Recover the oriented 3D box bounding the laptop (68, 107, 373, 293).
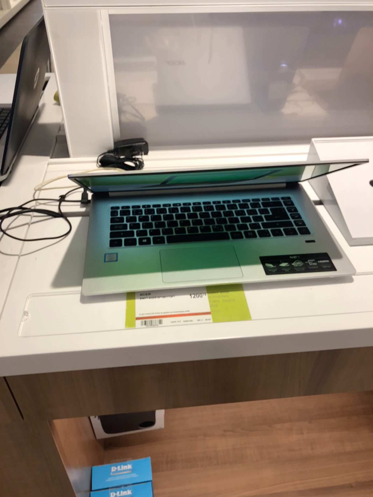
[{"bbox_3d":[0.036,-0.079,0.564,0.346,0.132,0.218,-4,41,-6],"label":"laptop"}]
